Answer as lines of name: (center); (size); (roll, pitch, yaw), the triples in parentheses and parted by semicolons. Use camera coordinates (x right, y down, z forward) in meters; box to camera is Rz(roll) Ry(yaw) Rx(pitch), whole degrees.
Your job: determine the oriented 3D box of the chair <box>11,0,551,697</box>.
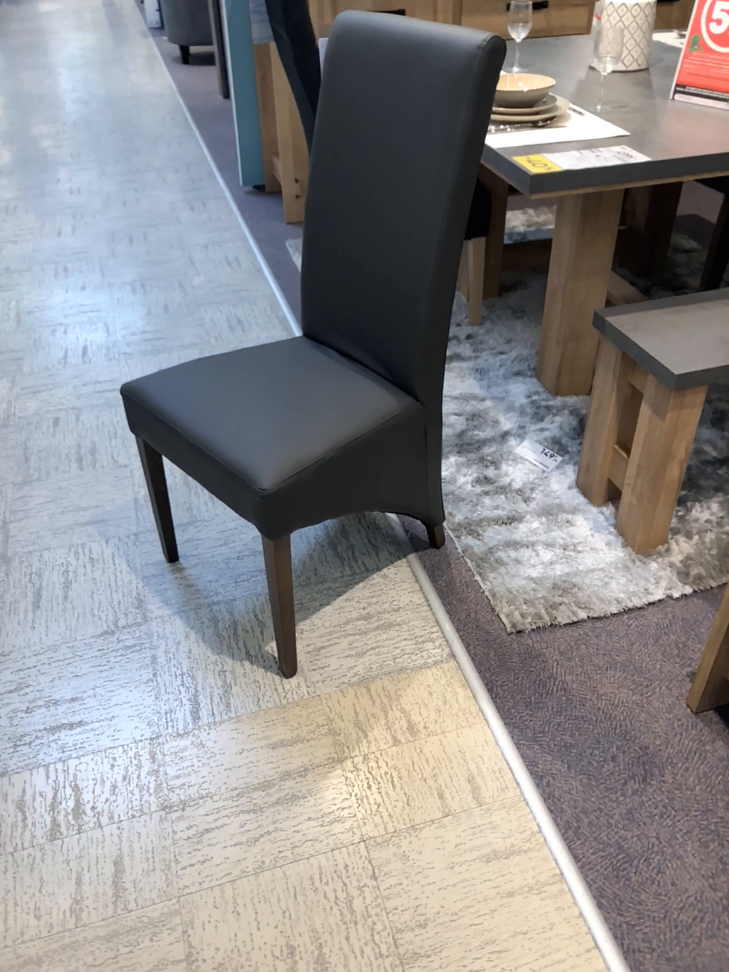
chair: (-0.115, -0.260, 1.441); (0.573, 1.014, 0.521); (-29, 45, -33)
